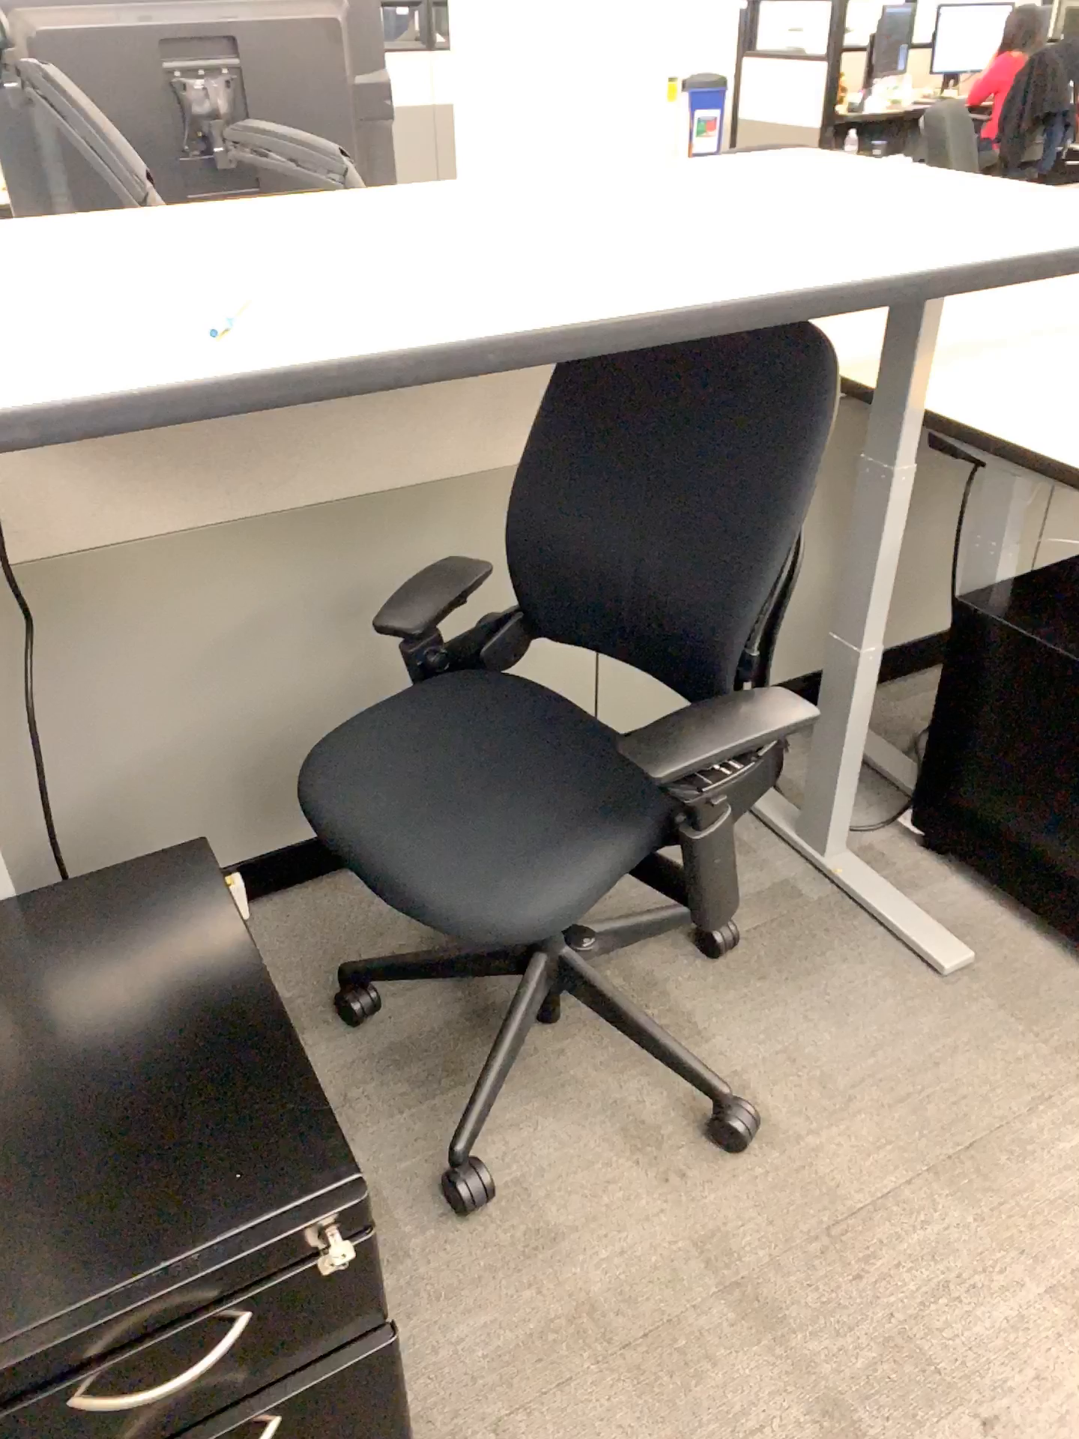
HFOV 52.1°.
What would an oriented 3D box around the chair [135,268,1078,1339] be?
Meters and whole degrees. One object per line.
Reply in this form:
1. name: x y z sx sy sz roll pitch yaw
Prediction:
1. chair: 0.078 0.007 1.467 0.761 0.954 0.783 -24 40 -35
